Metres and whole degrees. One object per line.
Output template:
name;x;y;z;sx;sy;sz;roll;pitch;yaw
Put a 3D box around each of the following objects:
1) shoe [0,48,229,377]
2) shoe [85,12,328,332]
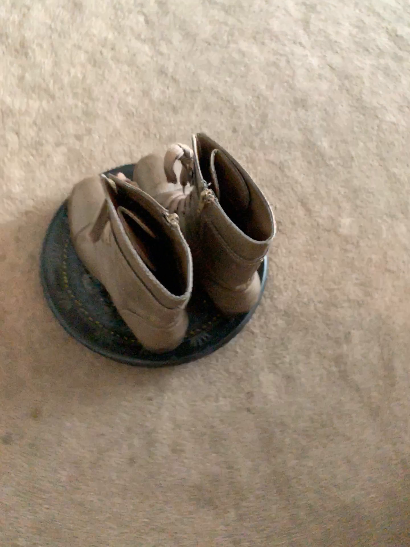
shoe;-0.098;-0.050;0.455;0.100;0.199;0.271;-27;72;-14
shoe;-0.014;-0.099;0.477;0.100;0.199;0.271;-27;72;-14
